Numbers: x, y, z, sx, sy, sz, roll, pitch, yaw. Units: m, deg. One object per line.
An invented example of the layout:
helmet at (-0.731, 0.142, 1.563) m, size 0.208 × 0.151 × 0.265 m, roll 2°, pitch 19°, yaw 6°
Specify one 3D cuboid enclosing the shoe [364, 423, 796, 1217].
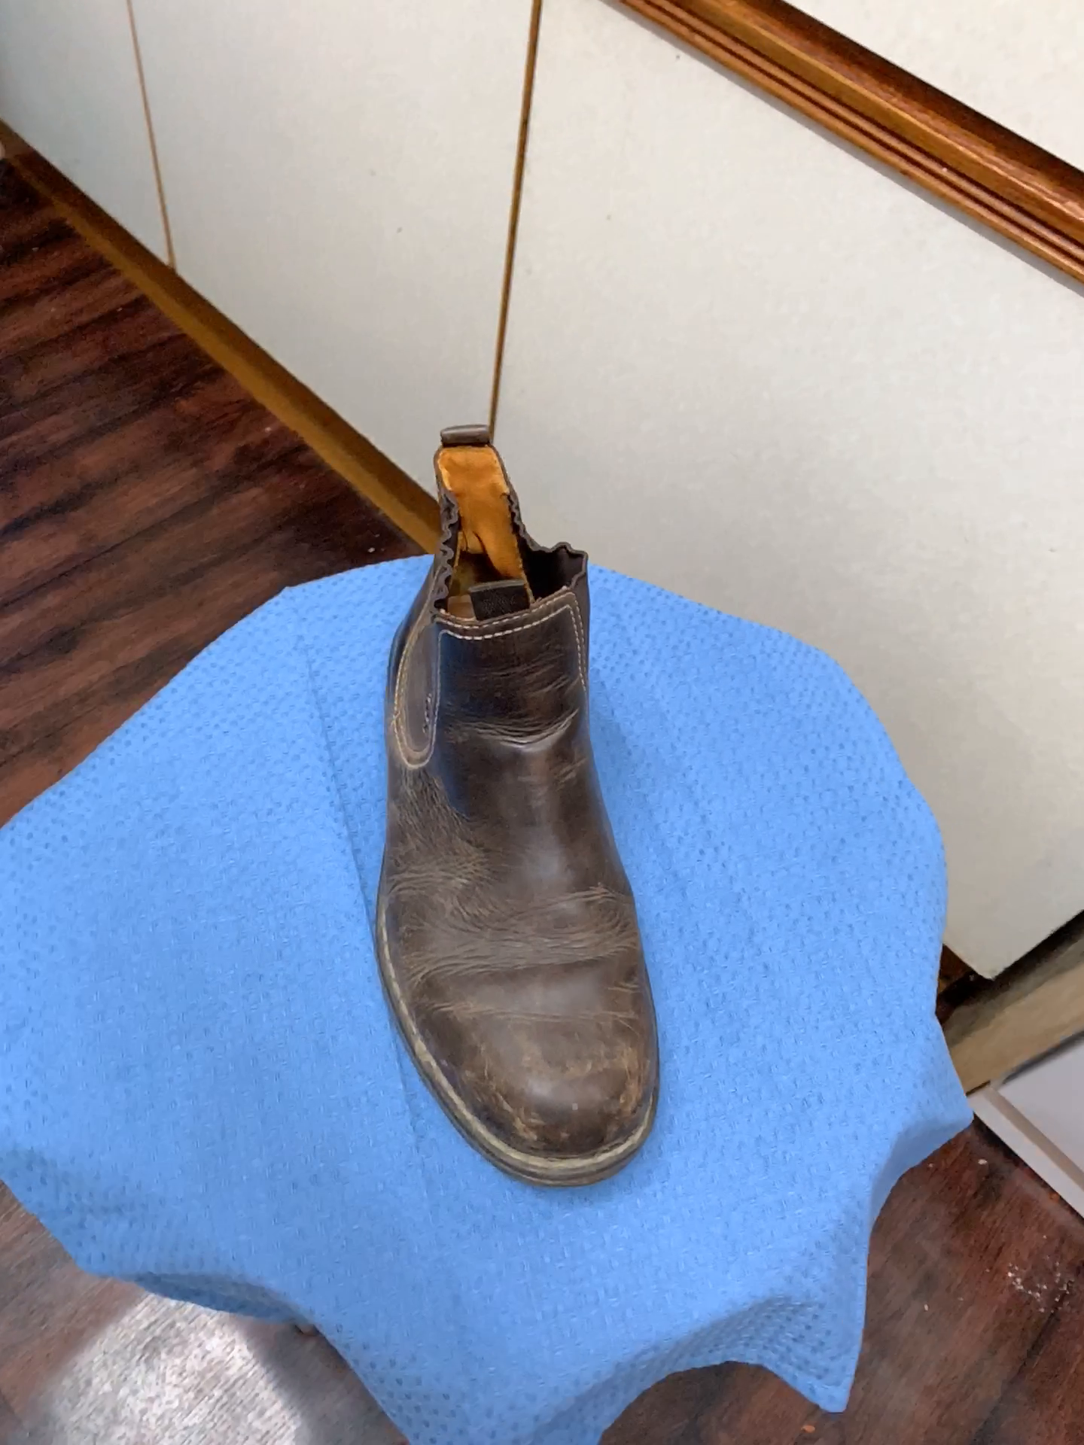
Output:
shoe at (-0.009, 0.033, 0.461) m, size 0.105 × 0.156 × 0.280 m, roll -4°, pitch 58°, yaw -12°
